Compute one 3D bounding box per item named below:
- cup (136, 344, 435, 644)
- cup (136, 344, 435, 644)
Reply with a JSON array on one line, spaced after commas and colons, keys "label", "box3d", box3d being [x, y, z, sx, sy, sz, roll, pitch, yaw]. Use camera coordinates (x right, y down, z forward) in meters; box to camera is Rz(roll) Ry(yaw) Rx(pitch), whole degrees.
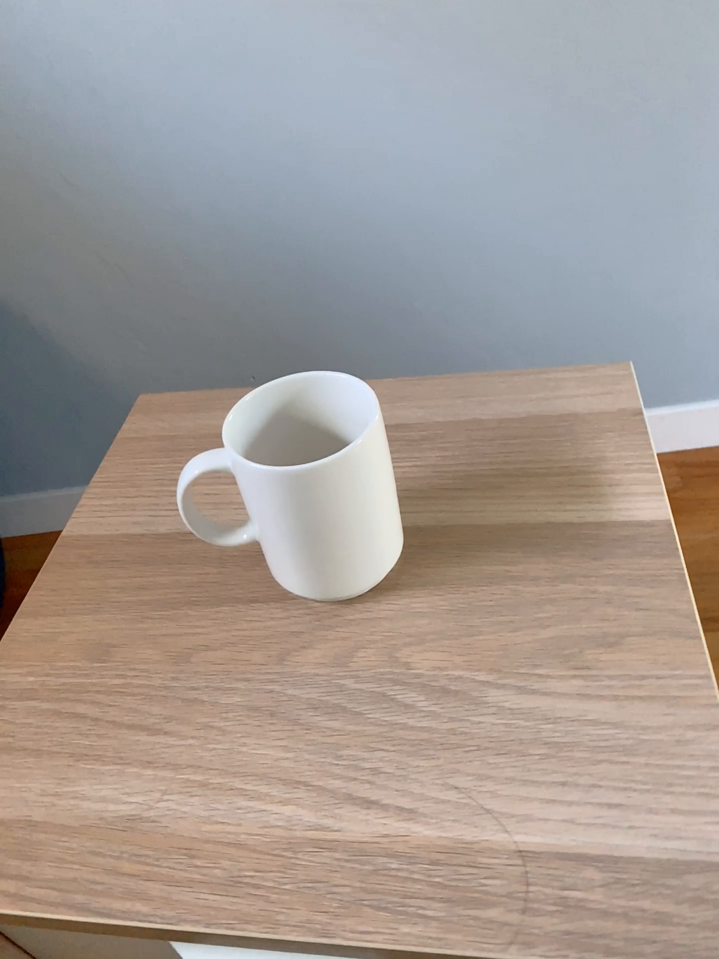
[{"label": "cup", "box3d": [-0.039, 0.011, 0.441, 0.140, 0.129, 0.082, -13, 41, -1]}, {"label": "cup", "box3d": [-0.039, 0.011, 0.441, 0.140, 0.129, 0.082, -13, 41, -1]}]
